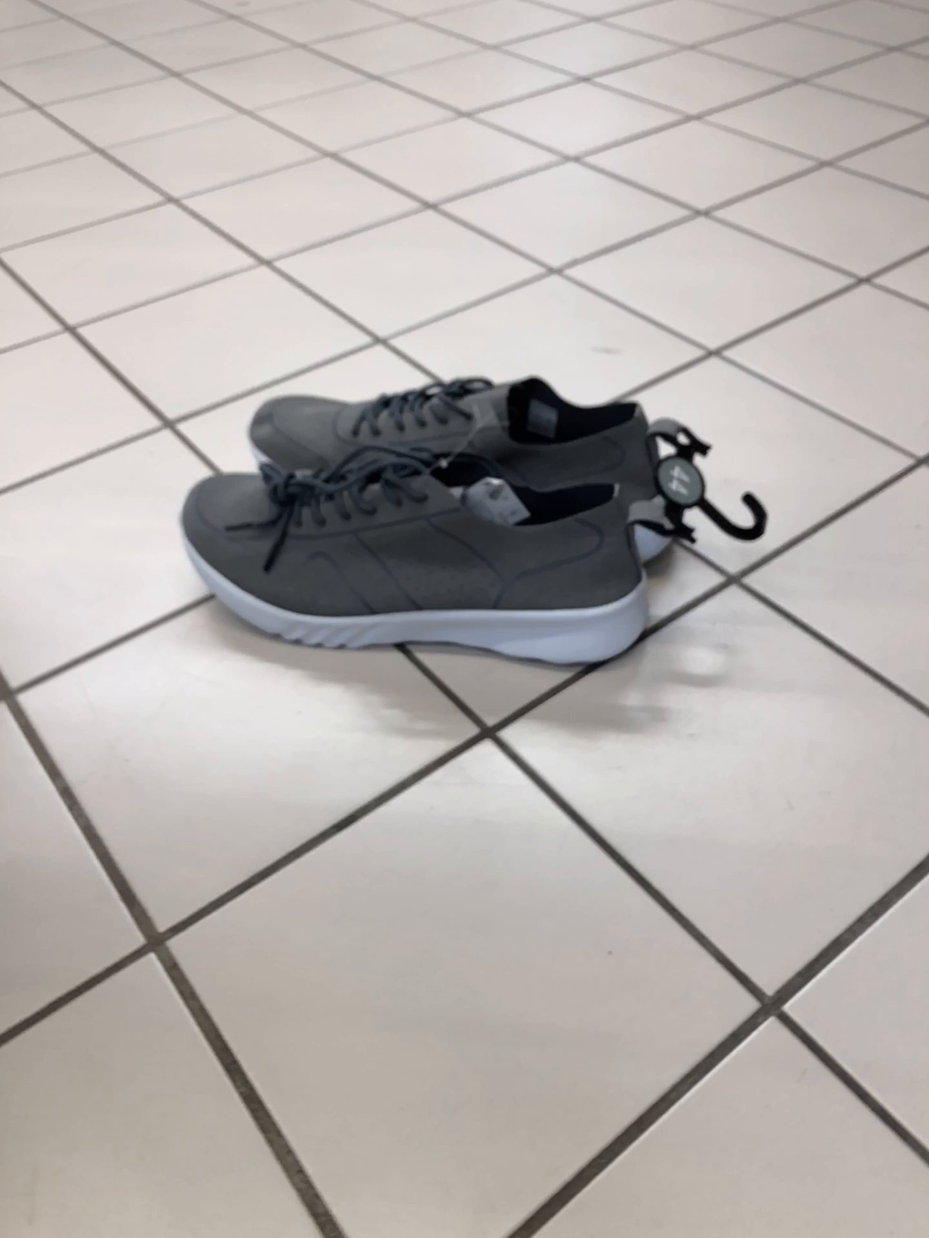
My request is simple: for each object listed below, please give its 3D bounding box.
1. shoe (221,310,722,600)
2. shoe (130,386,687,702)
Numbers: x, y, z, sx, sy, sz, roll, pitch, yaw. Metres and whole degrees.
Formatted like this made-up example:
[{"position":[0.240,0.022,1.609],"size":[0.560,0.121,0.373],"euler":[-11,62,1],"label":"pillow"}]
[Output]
[{"position":[0.007,-0.113,0.673],"size":[0.290,0.099,0.111],"euler":[12,45,14],"label":"shoe"},{"position":[-0.027,-0.050,0.609],"size":[0.290,0.099,0.111],"euler":[9,45,12],"label":"shoe"}]
